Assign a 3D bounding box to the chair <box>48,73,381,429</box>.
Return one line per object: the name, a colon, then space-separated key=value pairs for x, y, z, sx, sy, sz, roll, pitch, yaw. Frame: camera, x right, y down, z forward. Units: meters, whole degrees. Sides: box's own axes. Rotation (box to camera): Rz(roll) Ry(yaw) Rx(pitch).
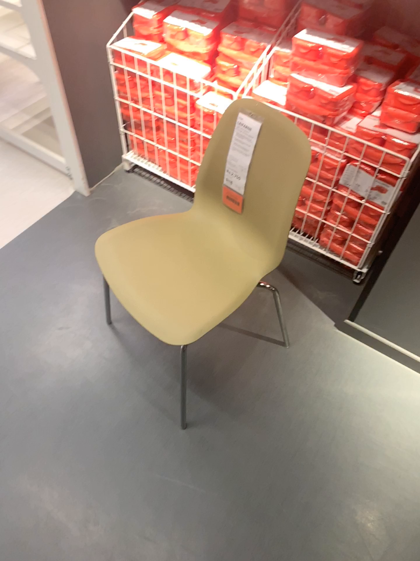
chair: x=-0.008 y=-0.060 z=1.237 sx=0.550 sy=0.728 sz=0.501 roll=-29 pitch=59 yaw=-22
